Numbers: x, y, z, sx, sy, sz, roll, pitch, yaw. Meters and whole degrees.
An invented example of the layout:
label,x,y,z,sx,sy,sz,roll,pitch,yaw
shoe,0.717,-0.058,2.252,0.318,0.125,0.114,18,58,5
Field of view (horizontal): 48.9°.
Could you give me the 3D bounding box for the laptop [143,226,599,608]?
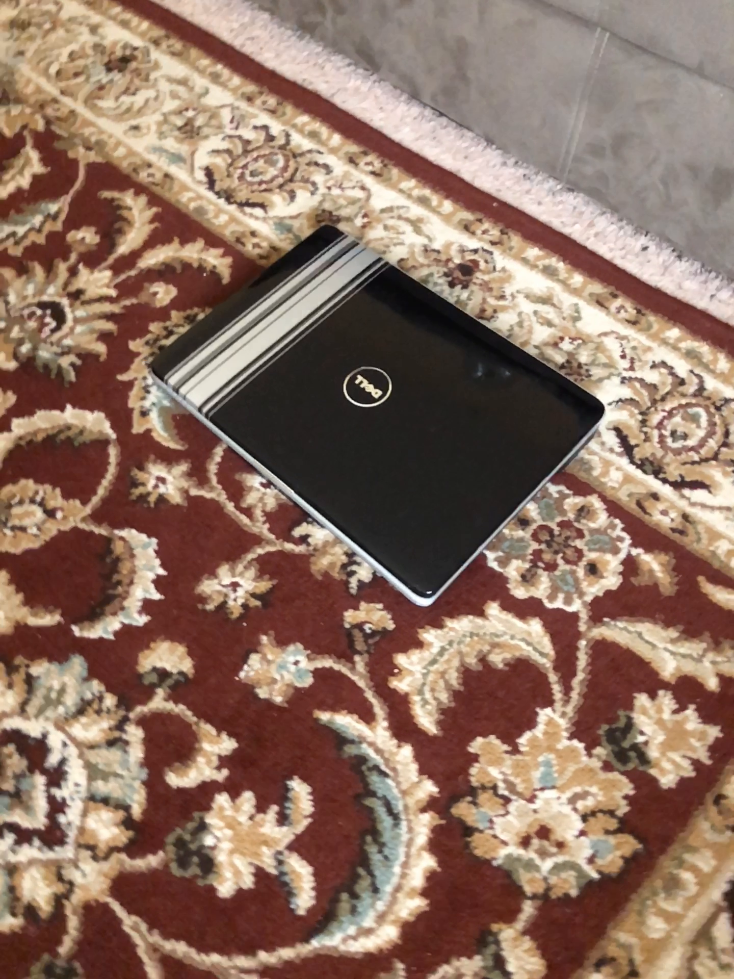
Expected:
label,x,y,z,sx,sy,sz,roll,pitch,yaw
laptop,-0.003,-0.090,0.751,0.351,0.015,0.242,39,70,21
